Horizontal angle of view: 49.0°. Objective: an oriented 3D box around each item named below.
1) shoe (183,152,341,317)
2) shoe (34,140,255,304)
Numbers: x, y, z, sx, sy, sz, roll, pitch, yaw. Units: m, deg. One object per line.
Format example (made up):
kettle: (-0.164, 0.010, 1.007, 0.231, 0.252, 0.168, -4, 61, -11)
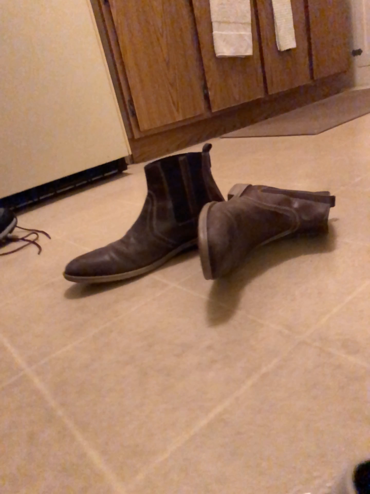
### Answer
shoe: (0.136, -0.038, 0.590, 0.161, 0.111, 0.315, -2, 24, 23)
shoe: (-0.062, -0.053, 0.668, 0.313, 0.160, 0.112, -19, 22, -13)
